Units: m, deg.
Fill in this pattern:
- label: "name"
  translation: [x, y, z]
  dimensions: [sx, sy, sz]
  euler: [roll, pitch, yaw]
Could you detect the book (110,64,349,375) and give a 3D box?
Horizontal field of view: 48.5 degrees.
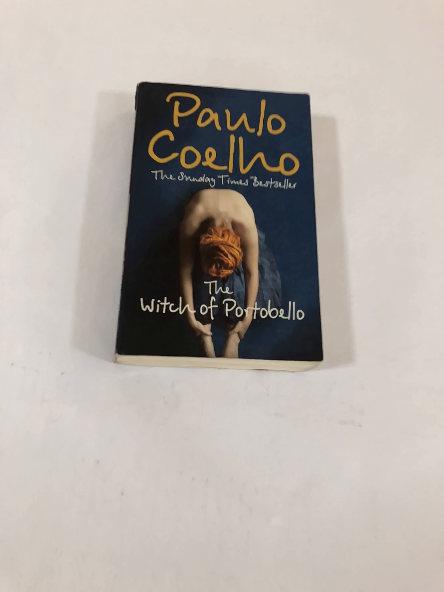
- label: "book"
  translation: [0.005, -0.048, 0.290]
  dimensions: [0.120, 0.030, 0.180]
  euler: [3, 71, -6]
